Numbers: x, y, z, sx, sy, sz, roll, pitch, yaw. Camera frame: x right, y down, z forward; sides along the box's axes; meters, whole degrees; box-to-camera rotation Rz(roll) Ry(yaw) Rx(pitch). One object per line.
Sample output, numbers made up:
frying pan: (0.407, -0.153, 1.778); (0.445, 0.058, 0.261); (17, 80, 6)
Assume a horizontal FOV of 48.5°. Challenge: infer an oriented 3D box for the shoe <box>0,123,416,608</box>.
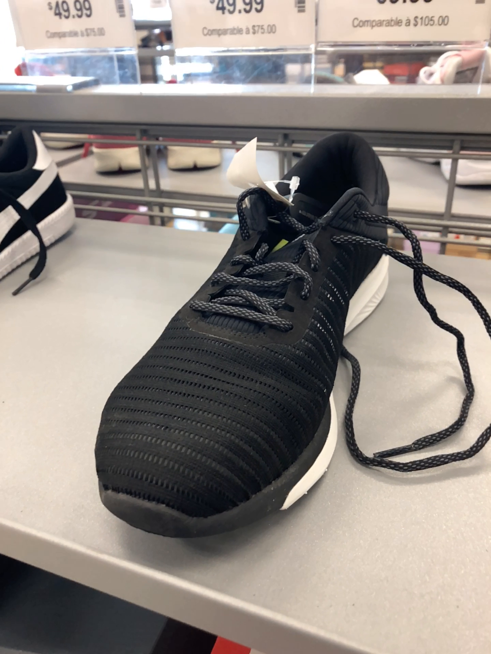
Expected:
shoe: (0.013, -0.026, 0.320); (0.120, 0.119, 0.302); (9, 33, 20)
